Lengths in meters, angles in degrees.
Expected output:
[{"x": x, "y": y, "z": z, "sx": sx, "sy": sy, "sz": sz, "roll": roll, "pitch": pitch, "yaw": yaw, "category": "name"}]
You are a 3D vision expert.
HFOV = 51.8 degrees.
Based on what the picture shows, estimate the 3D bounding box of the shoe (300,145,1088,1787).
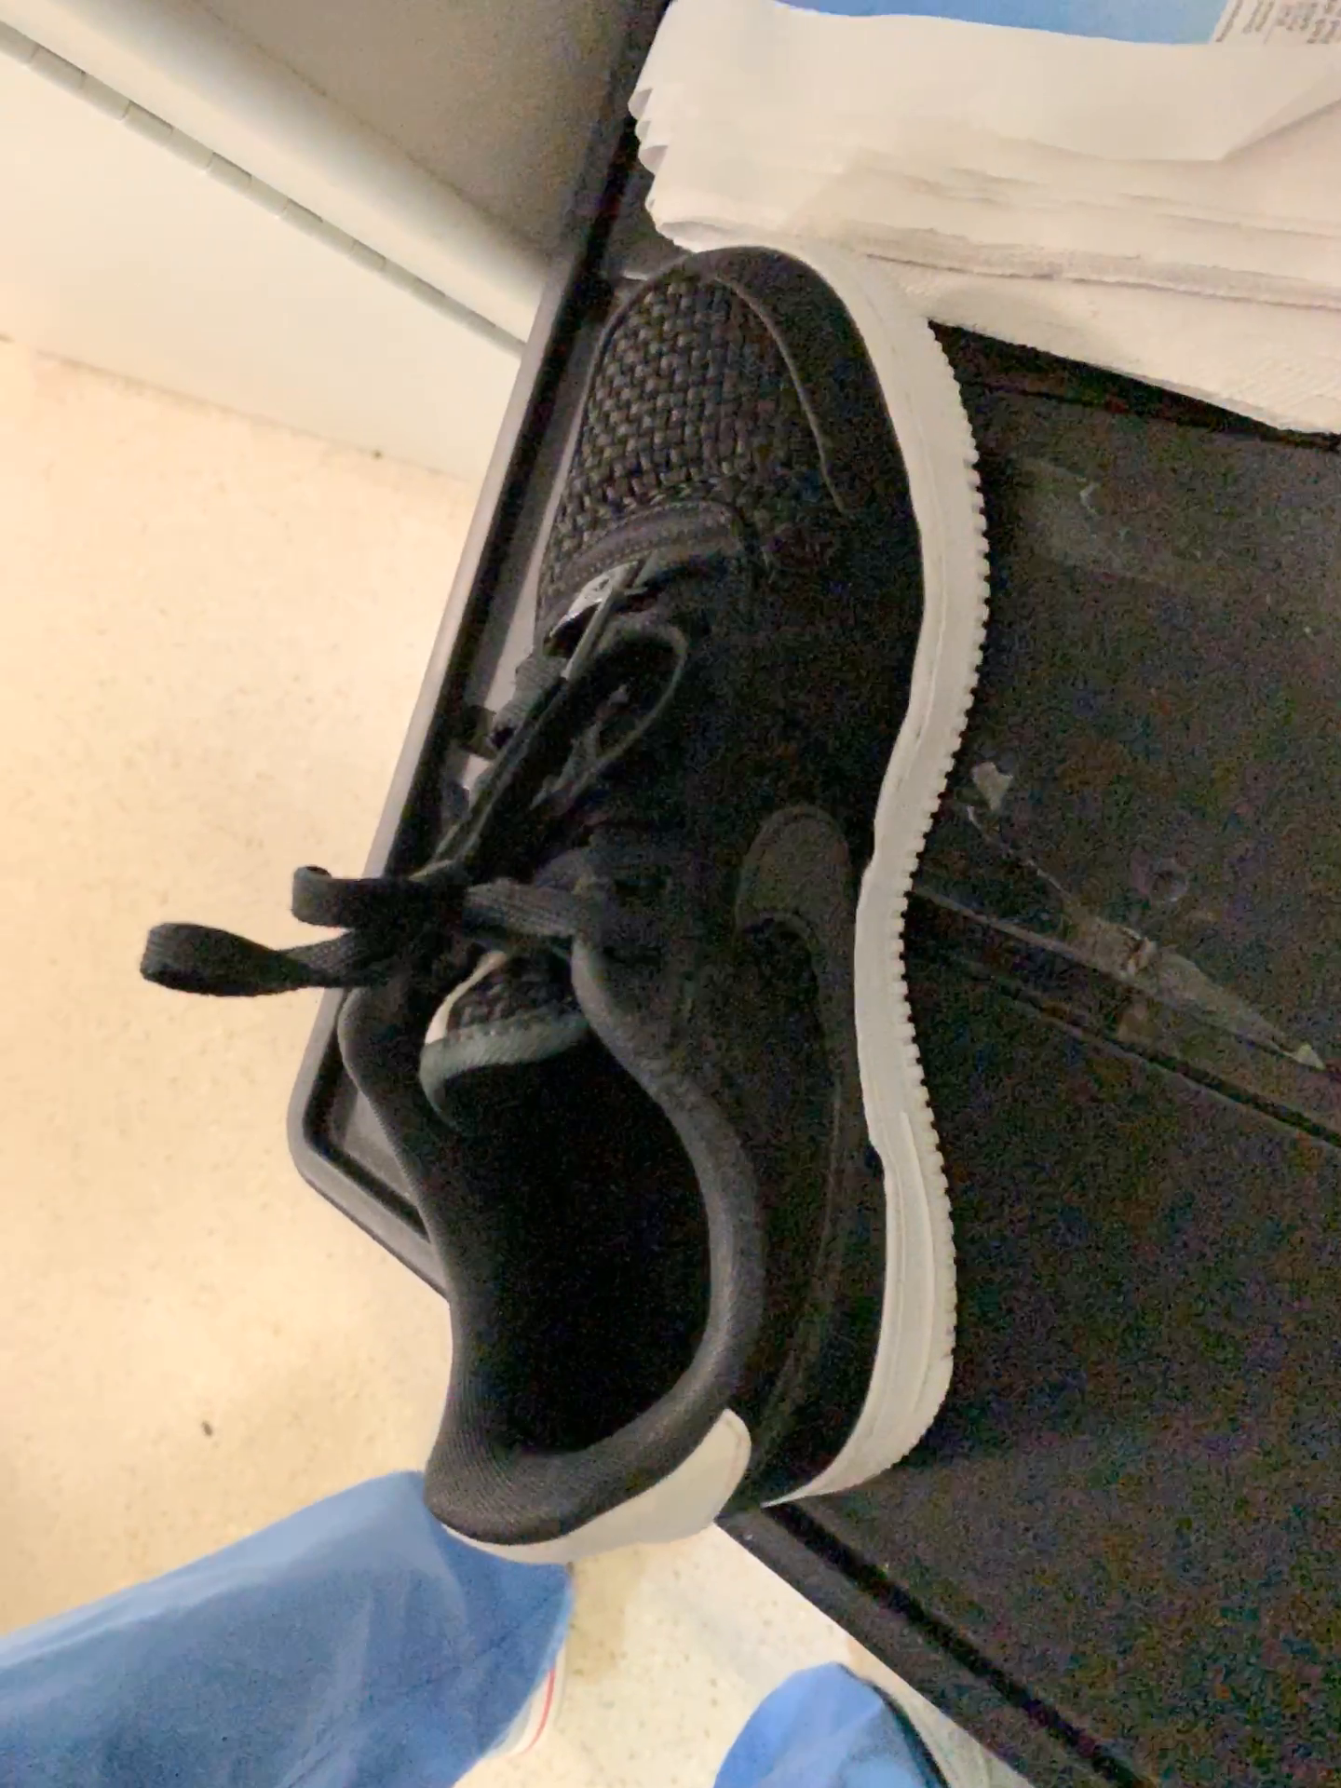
[{"x": 0.008, "y": 0.019, "z": 0.234, "sx": 0.090, "sy": 0.094, "sz": 0.225, "roll": -4, "pitch": 83, "yaw": 34, "category": "shoe"}]
